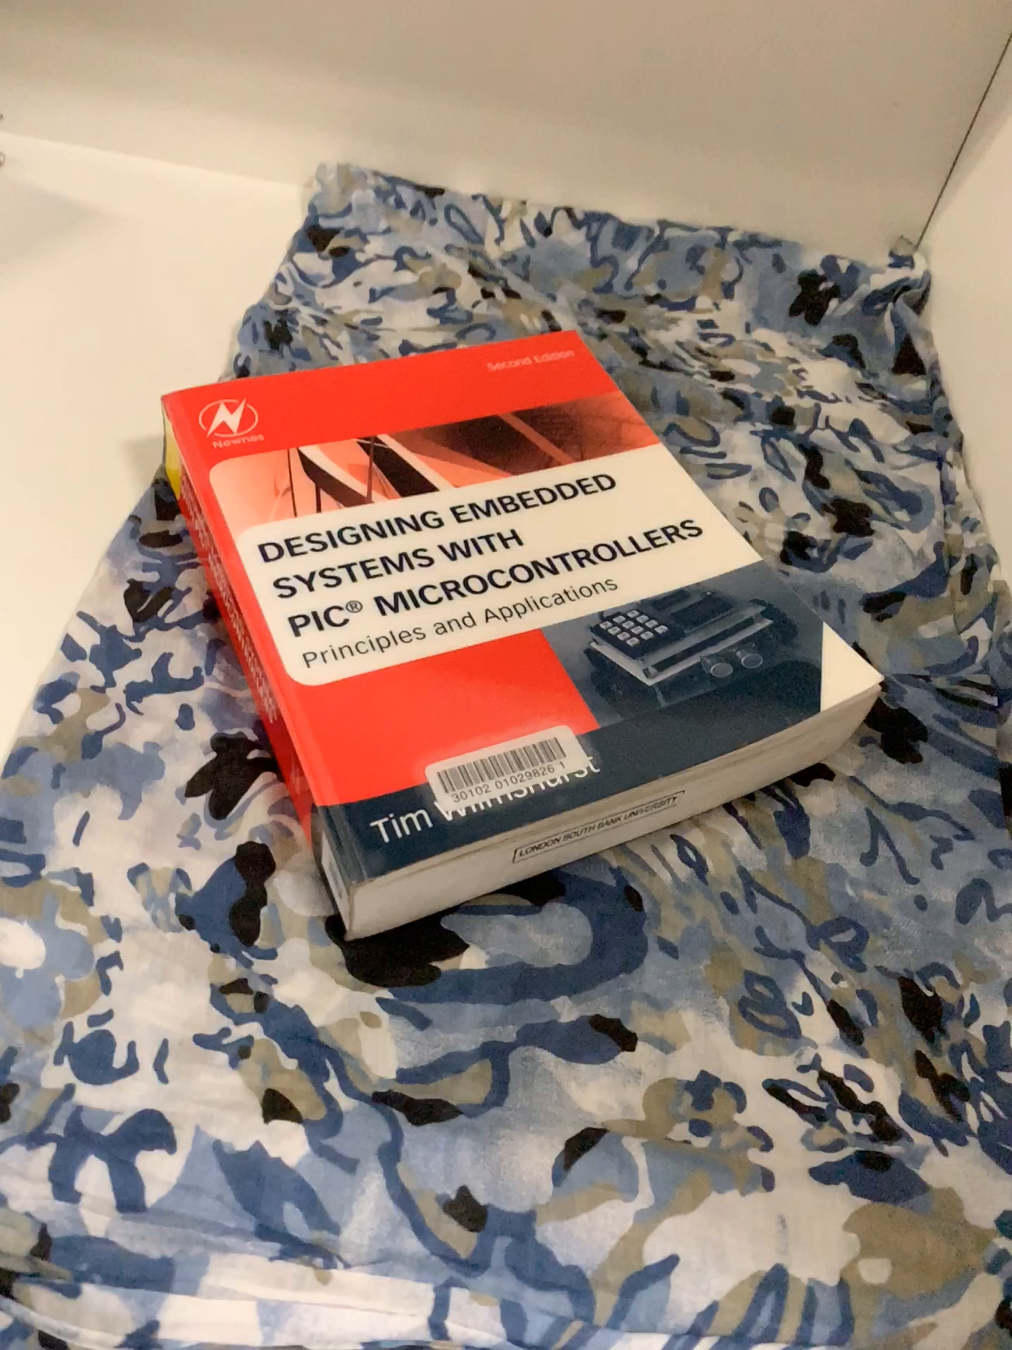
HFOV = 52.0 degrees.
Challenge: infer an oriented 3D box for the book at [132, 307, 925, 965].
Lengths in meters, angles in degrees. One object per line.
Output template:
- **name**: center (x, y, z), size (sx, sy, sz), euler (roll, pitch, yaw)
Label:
- **book**: center (-0.006, -0.042, 0.397), size (0.210, 0.050, 0.238), euler (-15, 54, -21)
